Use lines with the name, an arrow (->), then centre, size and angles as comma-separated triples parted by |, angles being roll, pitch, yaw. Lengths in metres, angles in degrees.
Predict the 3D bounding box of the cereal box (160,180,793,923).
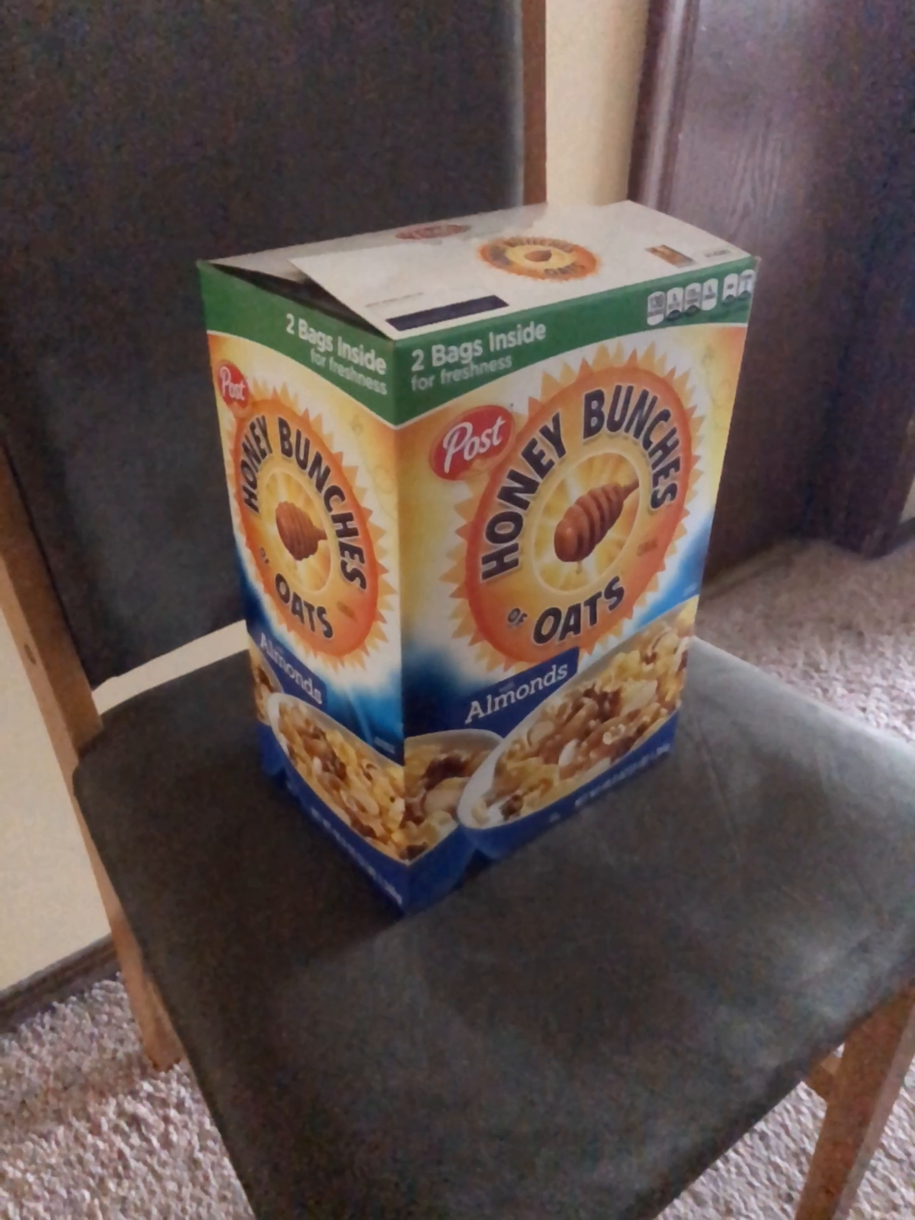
cereal box -> 0.011, -0.043, 0.508 | 0.220, 0.279, 0.160 | -24, 39, -32
